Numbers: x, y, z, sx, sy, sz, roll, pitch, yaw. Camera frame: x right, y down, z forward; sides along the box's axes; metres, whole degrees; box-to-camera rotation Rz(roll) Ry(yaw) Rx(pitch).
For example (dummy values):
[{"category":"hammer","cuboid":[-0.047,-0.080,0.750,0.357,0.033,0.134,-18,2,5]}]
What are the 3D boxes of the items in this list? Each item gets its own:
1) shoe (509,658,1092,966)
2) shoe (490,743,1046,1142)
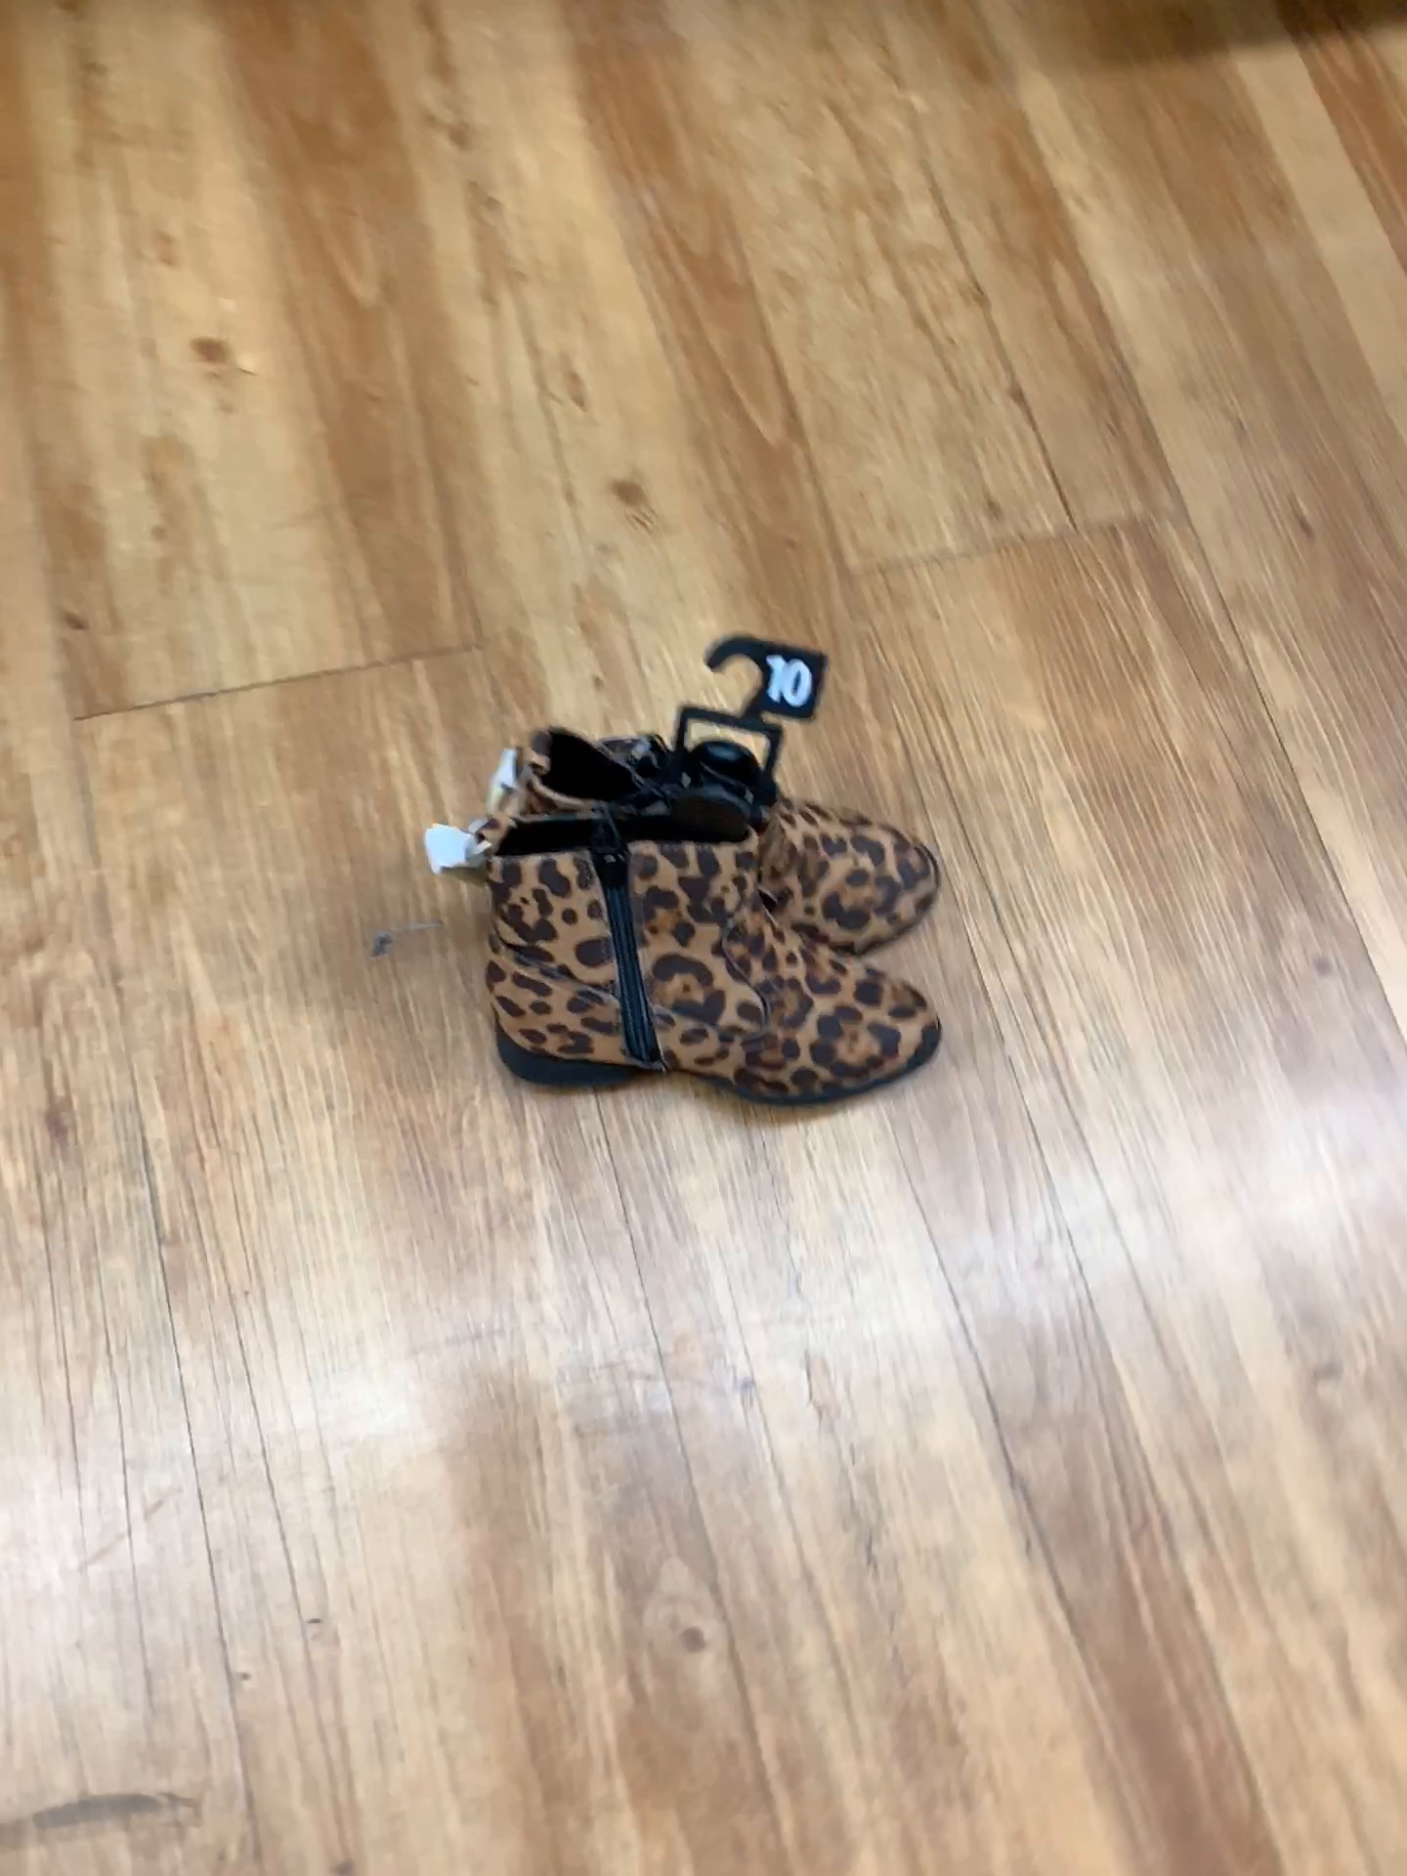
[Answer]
[{"category":"shoe","cuboid":[0.026,-0.042,0.529,0.190,0.120,0.070,-1,72,-7]},{"category":"shoe","cuboid":[0.016,0.005,0.529,0.180,0.120,0.070,4,43,-5]}]
